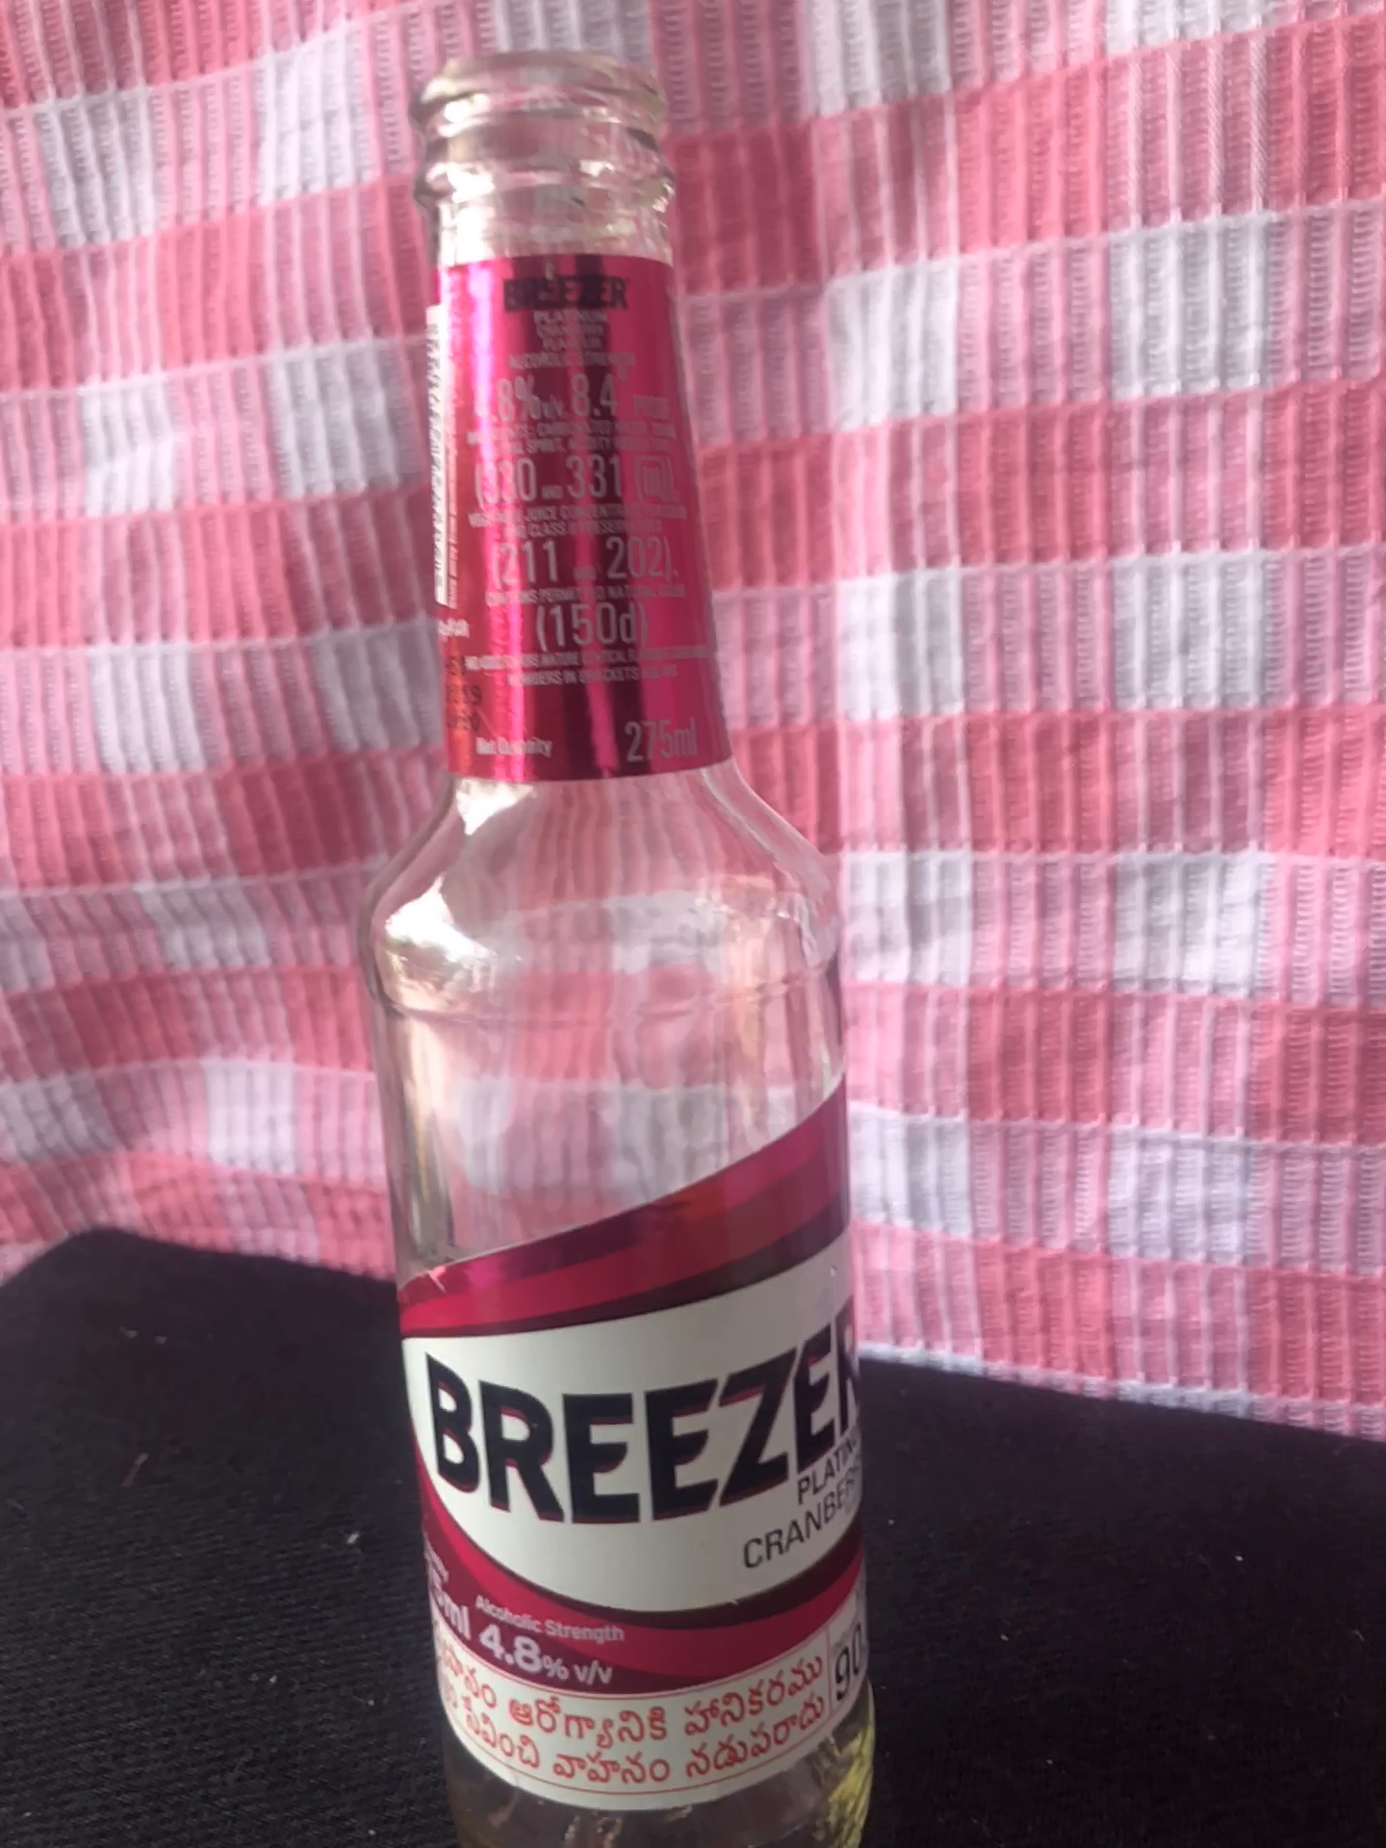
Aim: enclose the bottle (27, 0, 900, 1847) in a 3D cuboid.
[{"bbox_3d":[-0.014,0.022,0.167,0.060,0.209,0.060,-2,16,1],"label":"bottle"}]
